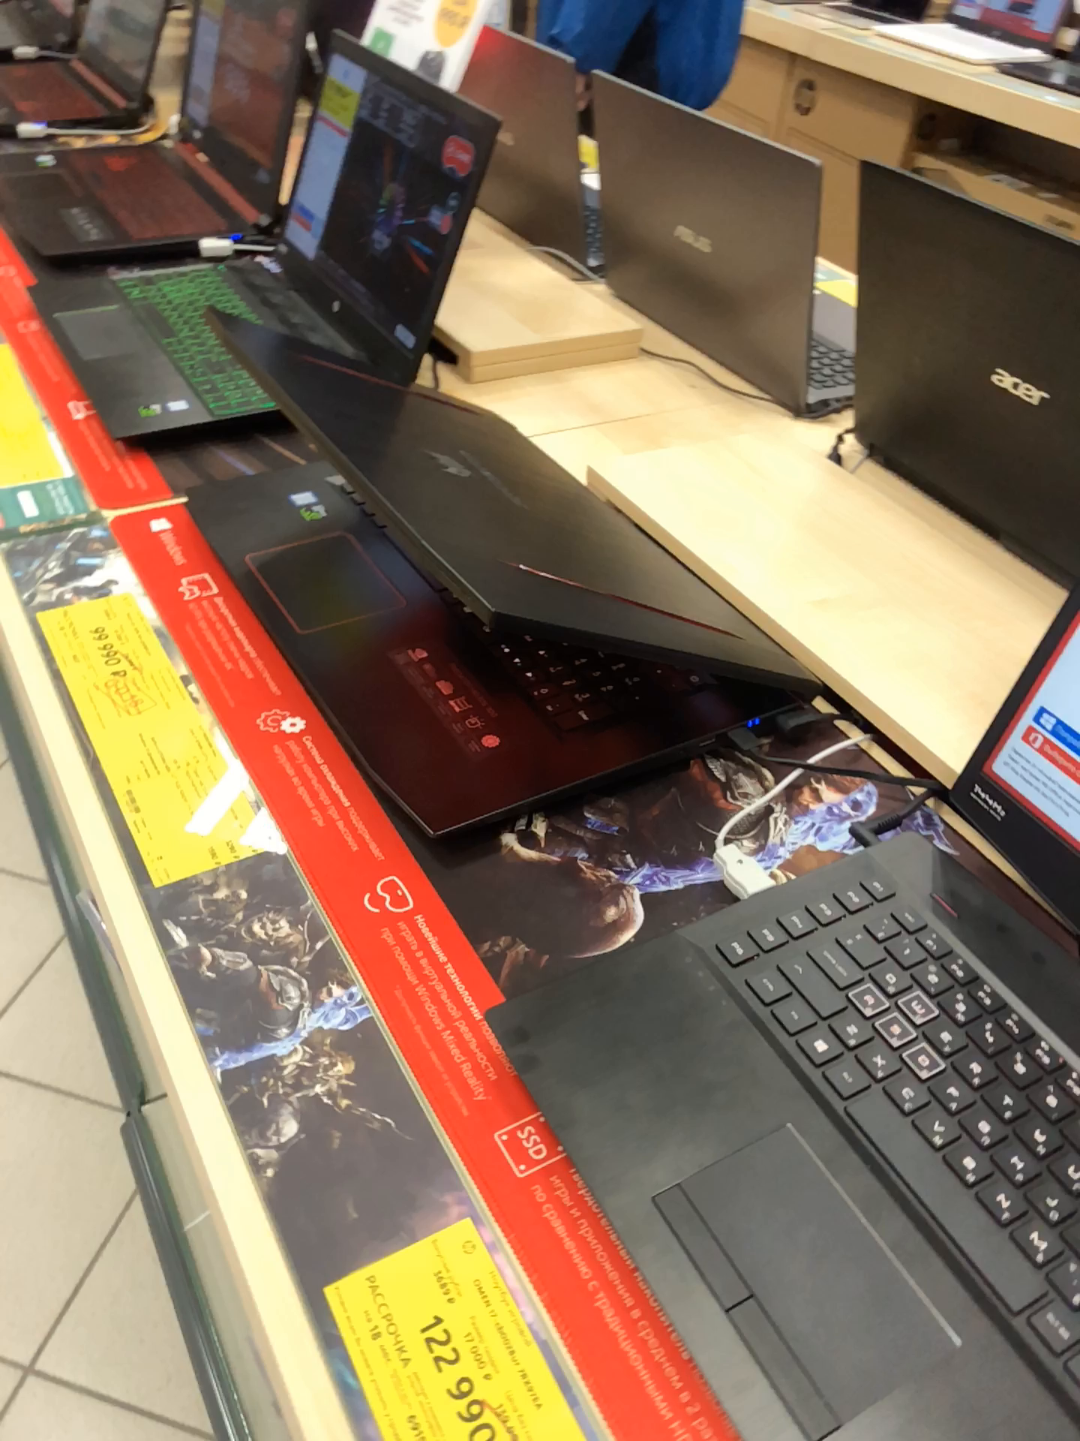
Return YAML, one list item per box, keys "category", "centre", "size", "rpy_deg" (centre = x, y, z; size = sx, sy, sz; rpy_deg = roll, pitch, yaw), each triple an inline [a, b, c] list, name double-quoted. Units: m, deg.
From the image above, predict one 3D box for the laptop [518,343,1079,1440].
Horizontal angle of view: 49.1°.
- category: "laptop"
  centre: [0.234, 0.095, 0.409]
  size: [0.355, 0.250, 0.378]
  rpy_deg: [-18, 43, -23]

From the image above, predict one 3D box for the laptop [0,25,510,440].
- category: "laptop"
  centre: [-0.275, -0.471, 1.098]
  size: [0.342, 0.230, 0.352]
  rpy_deg: [-17, 44, -24]

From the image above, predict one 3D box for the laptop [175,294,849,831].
- category: "laptop"
  centre: [-0.047, -0.142, 0.796]
  size: [0.261, 0.124, 0.420]
  rpy_deg: [-18, 43, -25]
